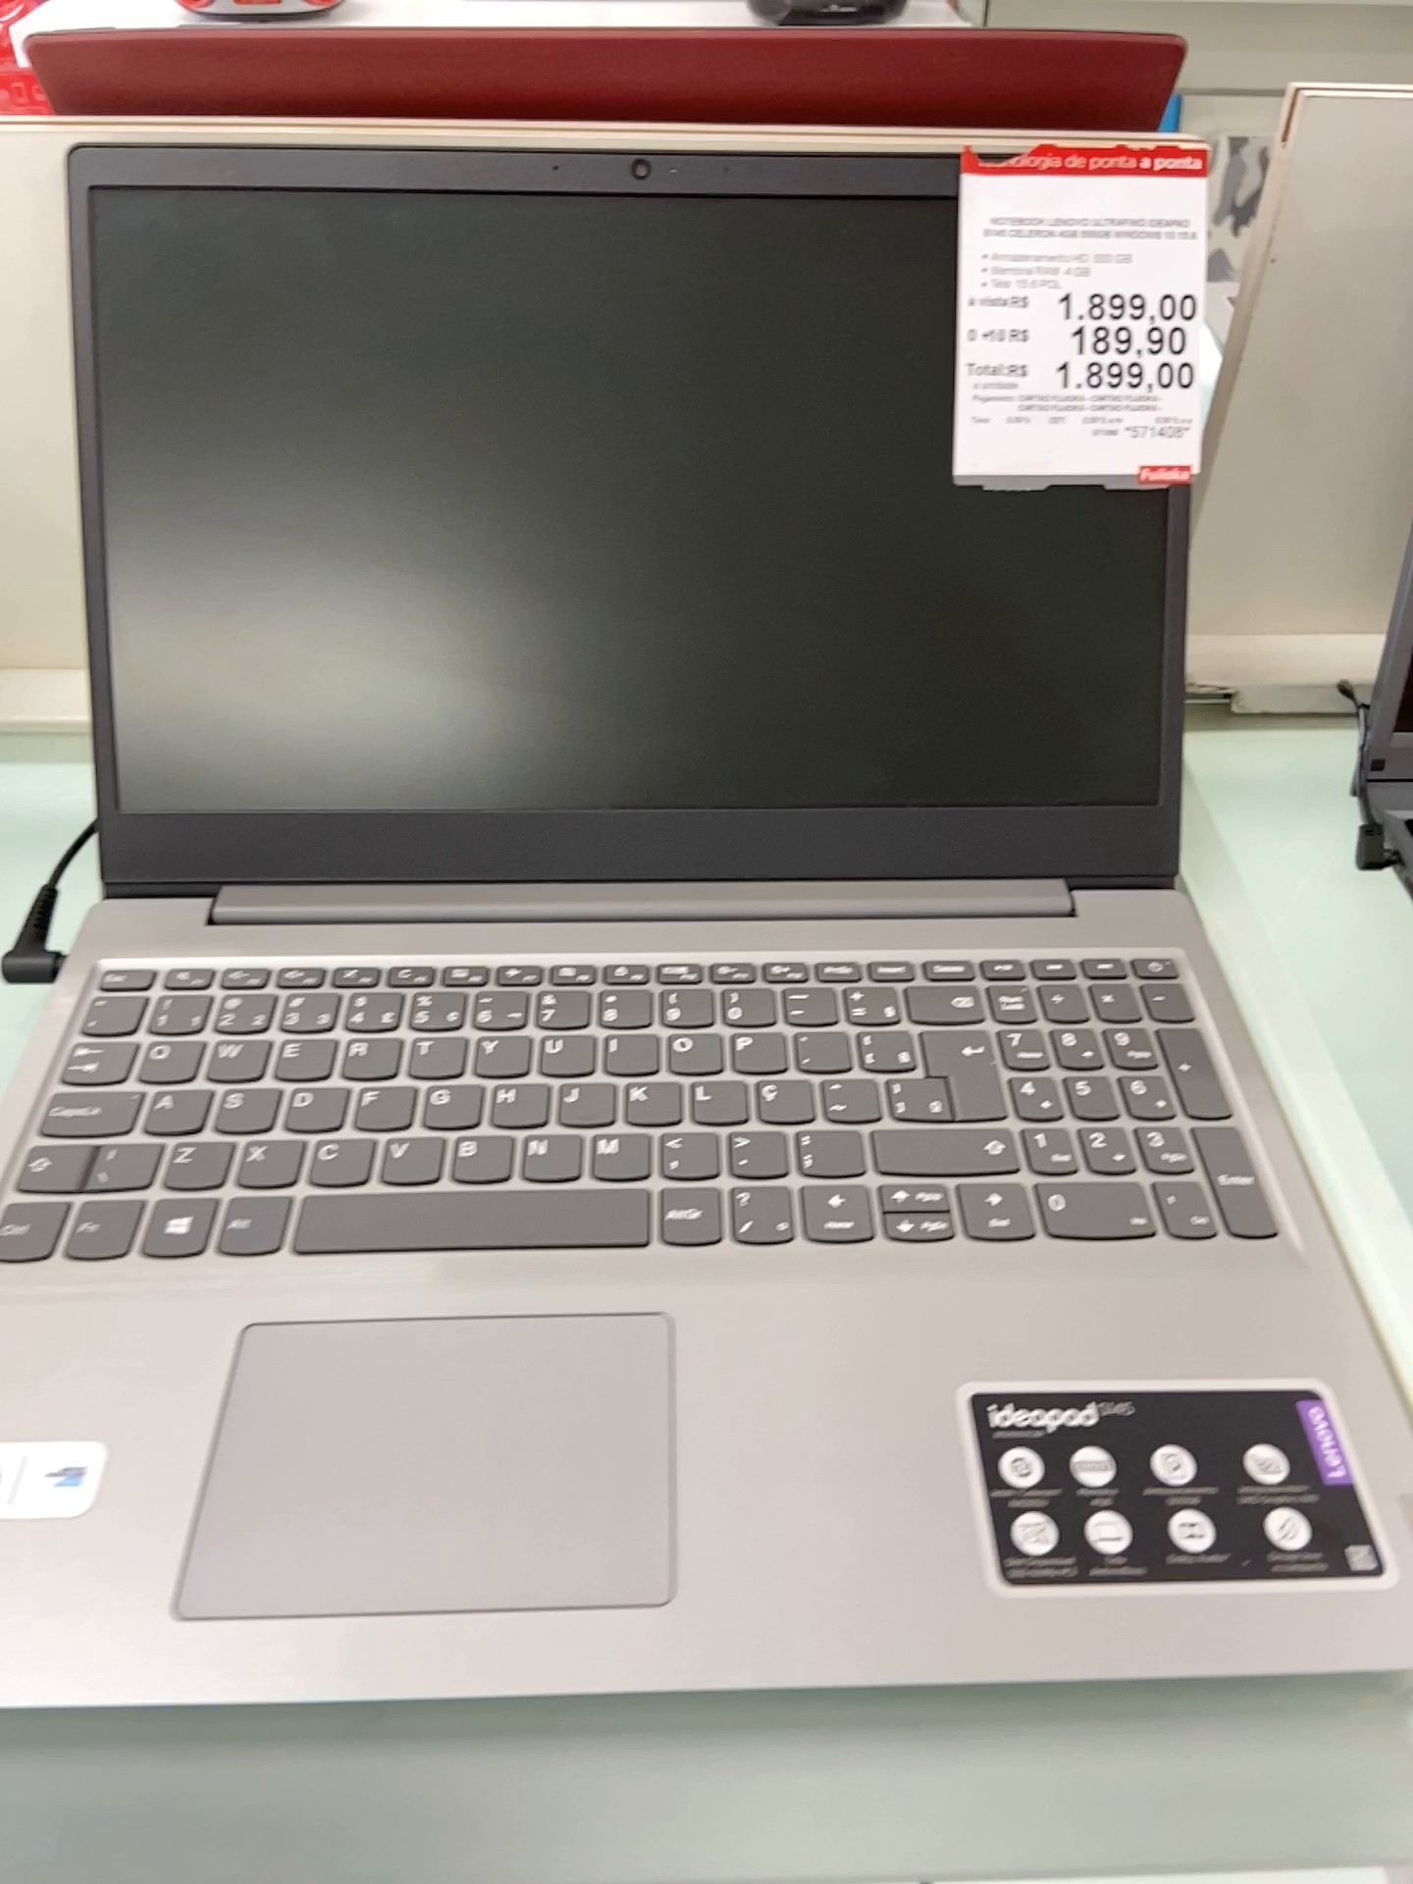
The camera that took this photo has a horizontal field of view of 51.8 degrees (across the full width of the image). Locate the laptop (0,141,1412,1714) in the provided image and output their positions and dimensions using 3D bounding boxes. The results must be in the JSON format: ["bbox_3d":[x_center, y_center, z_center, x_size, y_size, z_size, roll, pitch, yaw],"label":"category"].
[{"bbox_3d":[-0.018,-0.052,0.386,0.366,0.189,0.404,-1,43,-1],"label":"laptop"}]
